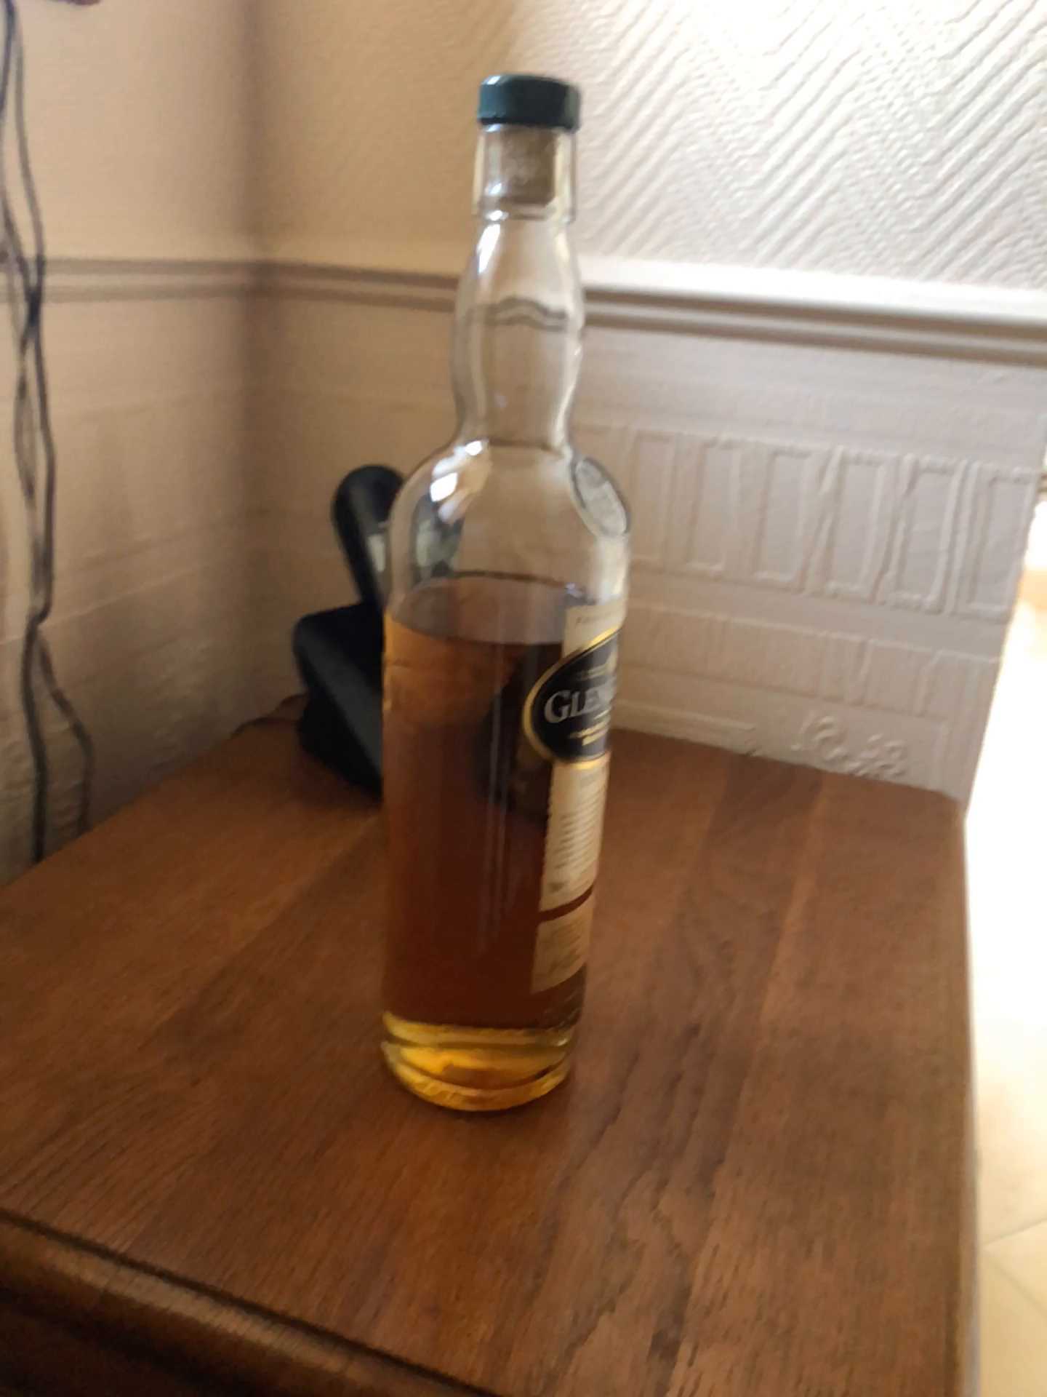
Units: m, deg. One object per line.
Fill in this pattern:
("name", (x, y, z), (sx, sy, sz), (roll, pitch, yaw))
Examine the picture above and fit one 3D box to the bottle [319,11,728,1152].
("bottle", (-0.005, -0.026, 0.367), (0.080, 0.318, 0.091), (12, 22, 20))
